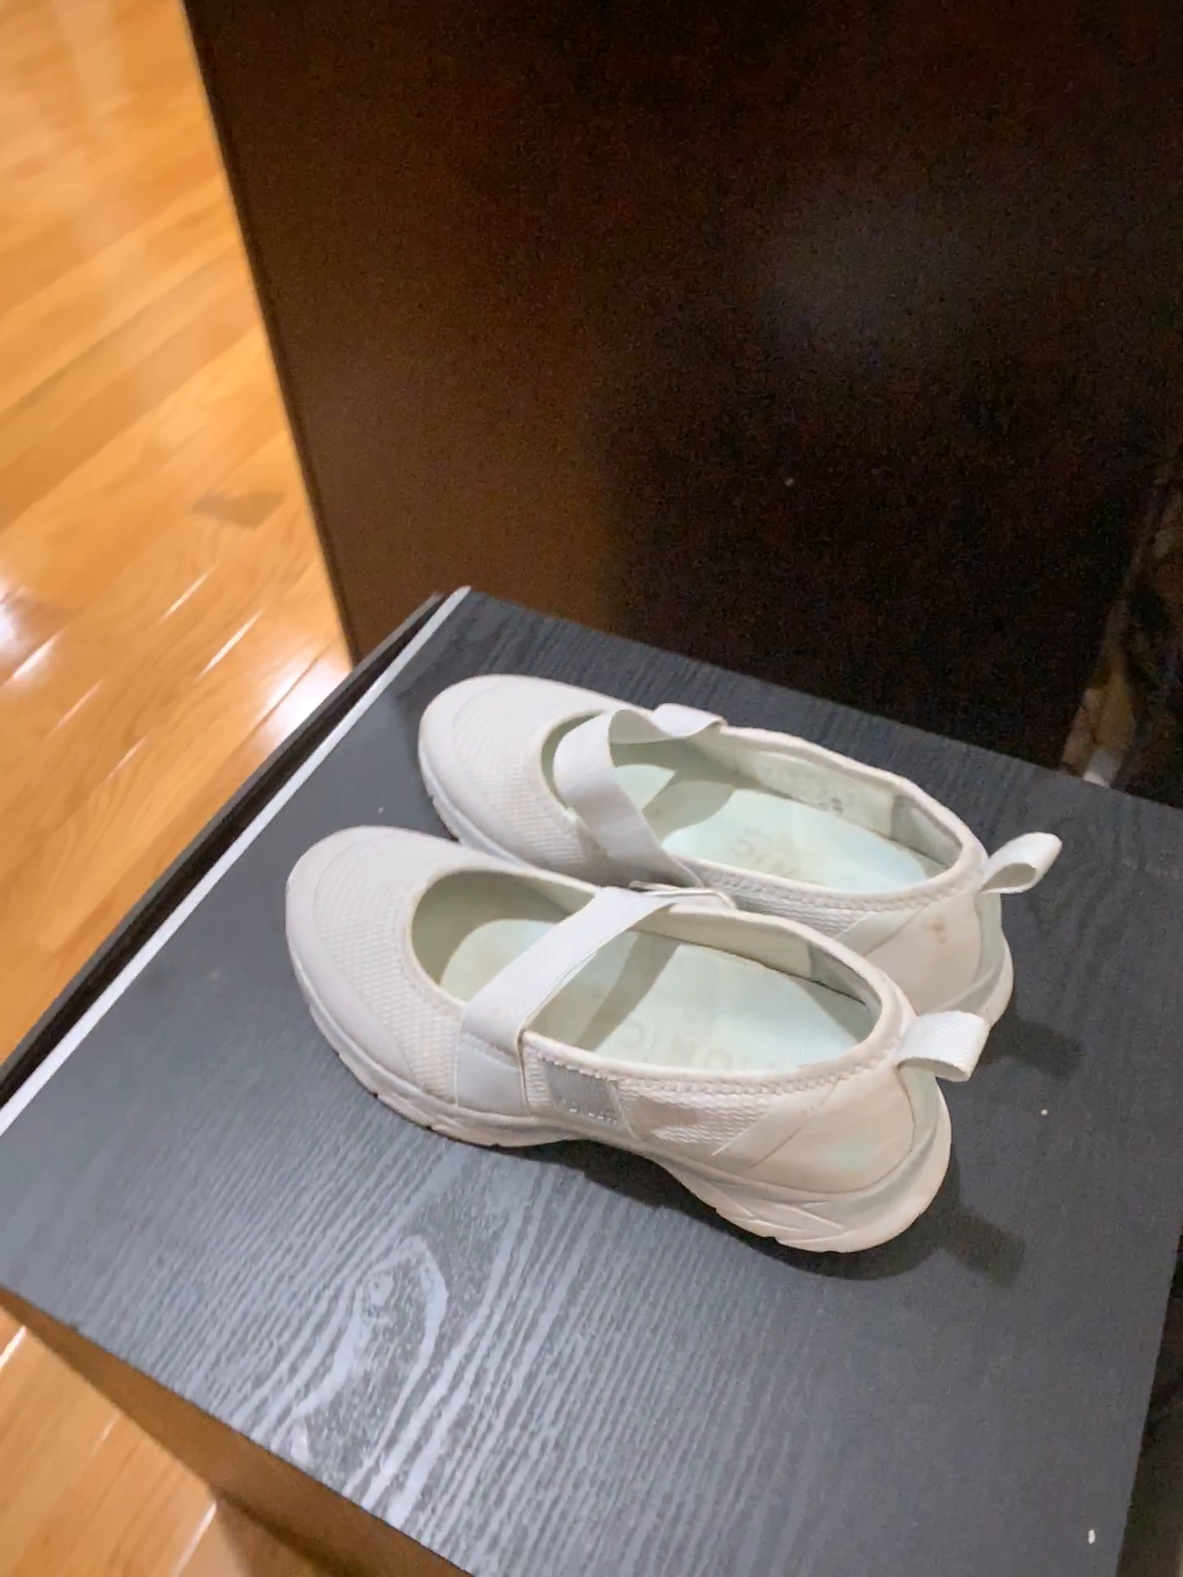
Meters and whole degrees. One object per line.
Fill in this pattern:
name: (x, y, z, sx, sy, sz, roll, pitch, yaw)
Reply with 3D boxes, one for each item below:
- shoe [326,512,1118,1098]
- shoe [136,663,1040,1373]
shoe: (0.042, -0.003, 0.450, 0.249, 0.093, 0.103, 21, 53, 20)
shoe: (-0.004, 0.063, 0.394, 0.249, 0.093, 0.103, 21, 53, 20)
